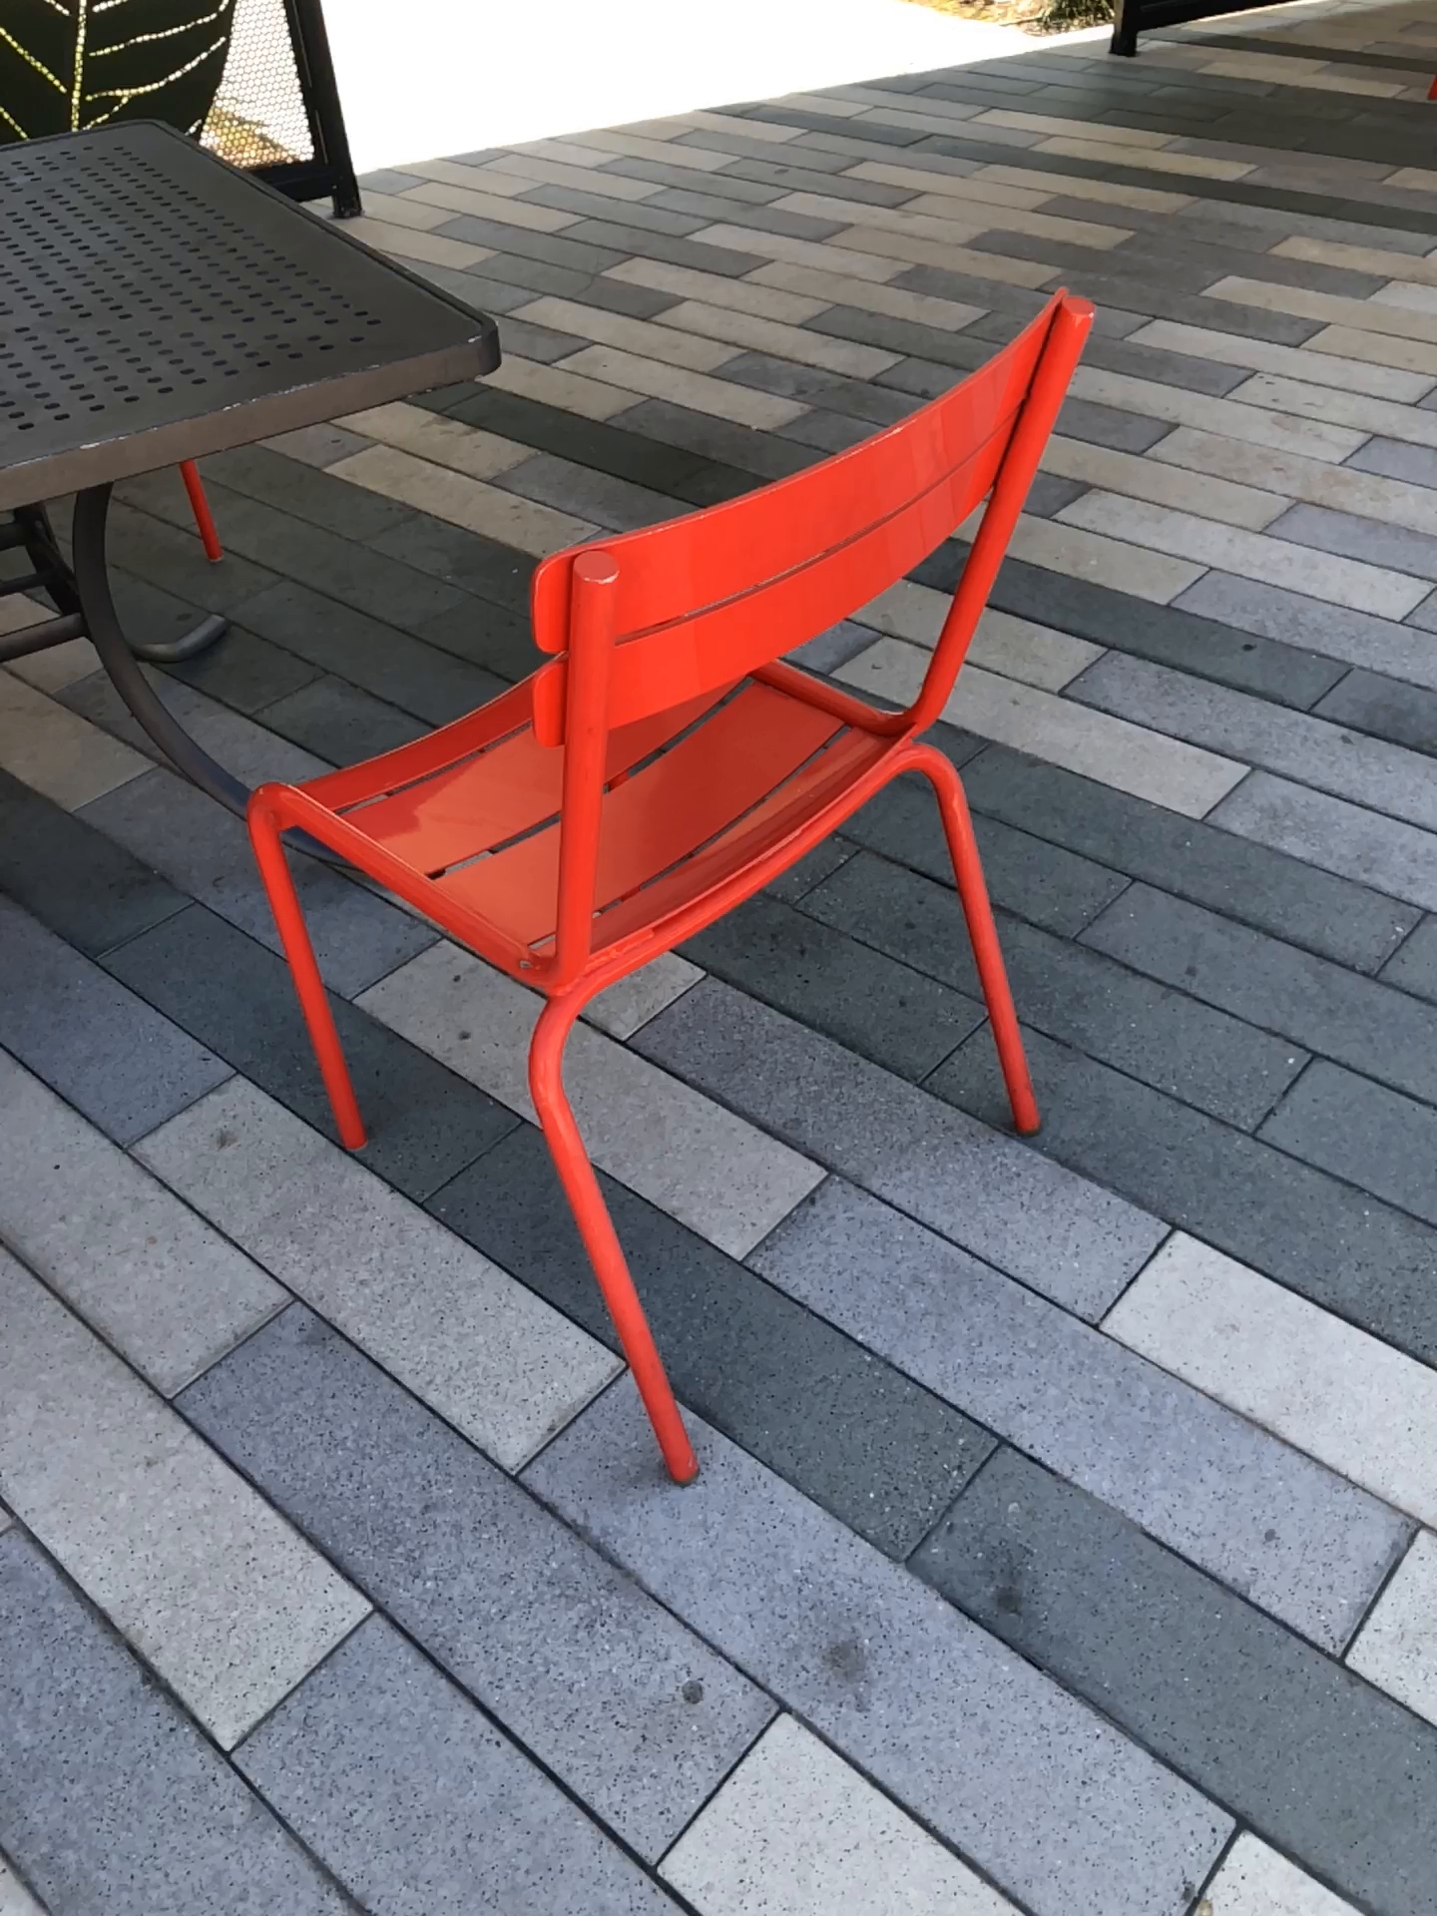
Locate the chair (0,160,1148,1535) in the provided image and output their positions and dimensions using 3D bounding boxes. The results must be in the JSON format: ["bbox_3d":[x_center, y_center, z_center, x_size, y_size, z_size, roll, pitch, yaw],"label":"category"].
[{"bbox_3d":[-0.095,-0.114,1.488,0.632,0.955,0.611,28,50,32],"label":"chair"}]
